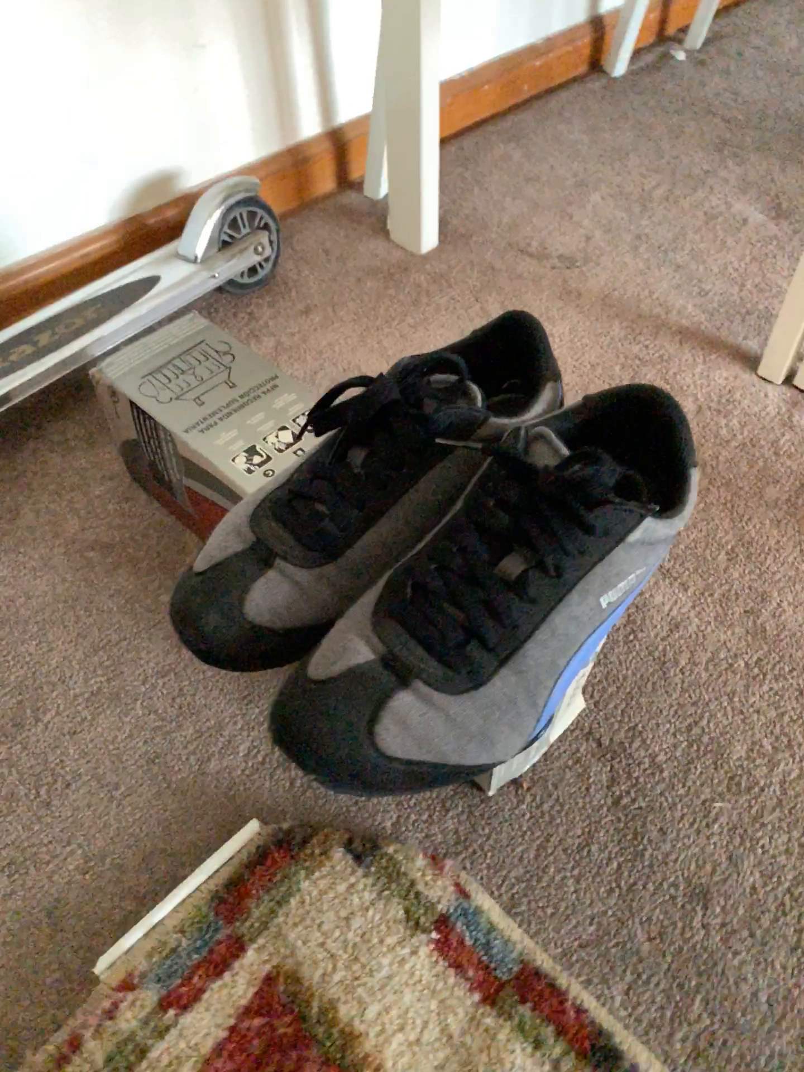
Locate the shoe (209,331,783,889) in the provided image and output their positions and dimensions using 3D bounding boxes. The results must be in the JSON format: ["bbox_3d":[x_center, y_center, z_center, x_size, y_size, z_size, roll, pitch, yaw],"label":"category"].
[{"bbox_3d":[0.052,0.016,0.374,0.100,0.077,0.251,34,60,31],"label":"shoe"}]

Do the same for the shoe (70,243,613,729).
[{"bbox_3d":[-0.018,-0.038,0.412,0.110,0.077,0.241,37,63,26],"label":"shoe"}]
